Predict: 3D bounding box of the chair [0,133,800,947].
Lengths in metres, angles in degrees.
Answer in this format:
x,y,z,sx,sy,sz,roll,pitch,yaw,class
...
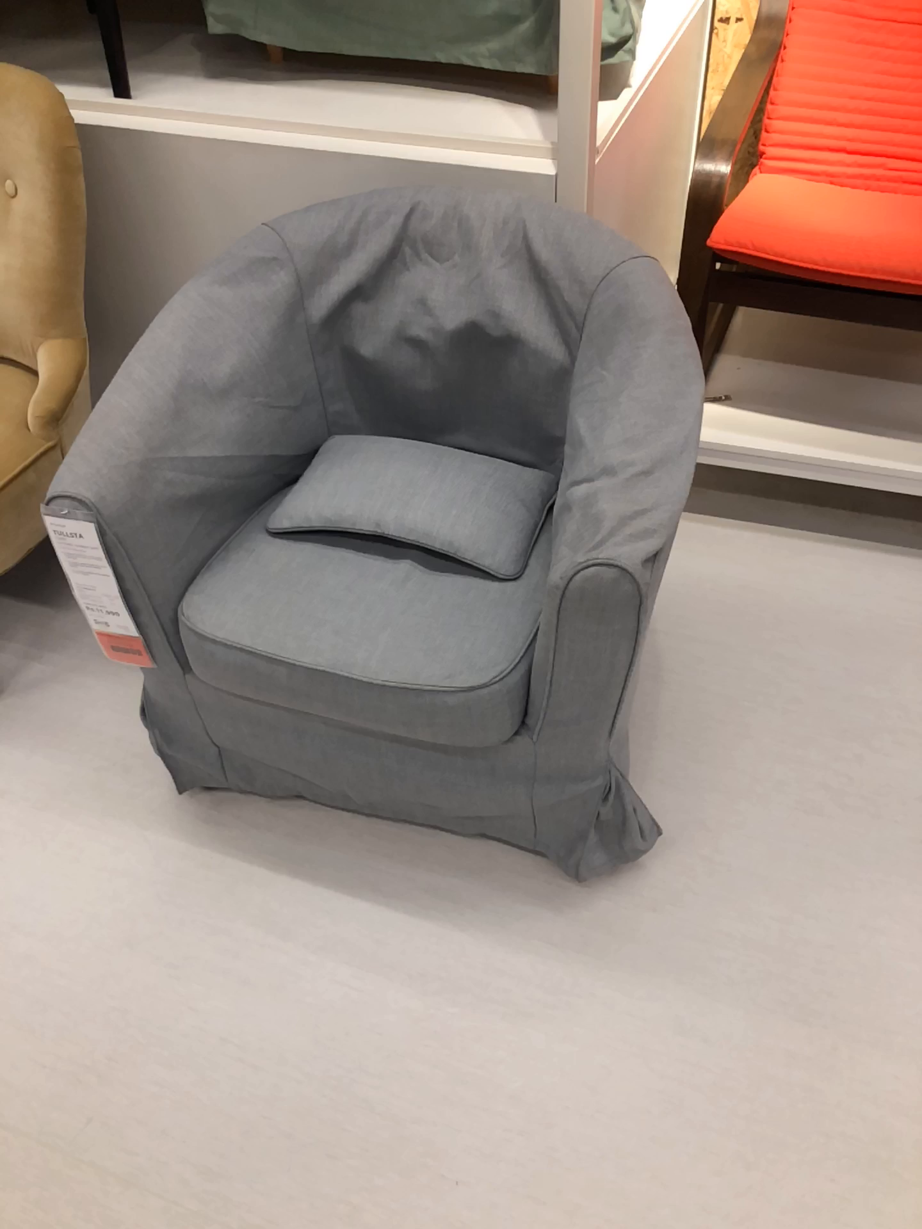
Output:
x,y,z,sx,sy,sz,roll,pitch,yaw,class
-0.051,-0.133,1.492,0.871,0.795,0.724,10,48,14,chair
